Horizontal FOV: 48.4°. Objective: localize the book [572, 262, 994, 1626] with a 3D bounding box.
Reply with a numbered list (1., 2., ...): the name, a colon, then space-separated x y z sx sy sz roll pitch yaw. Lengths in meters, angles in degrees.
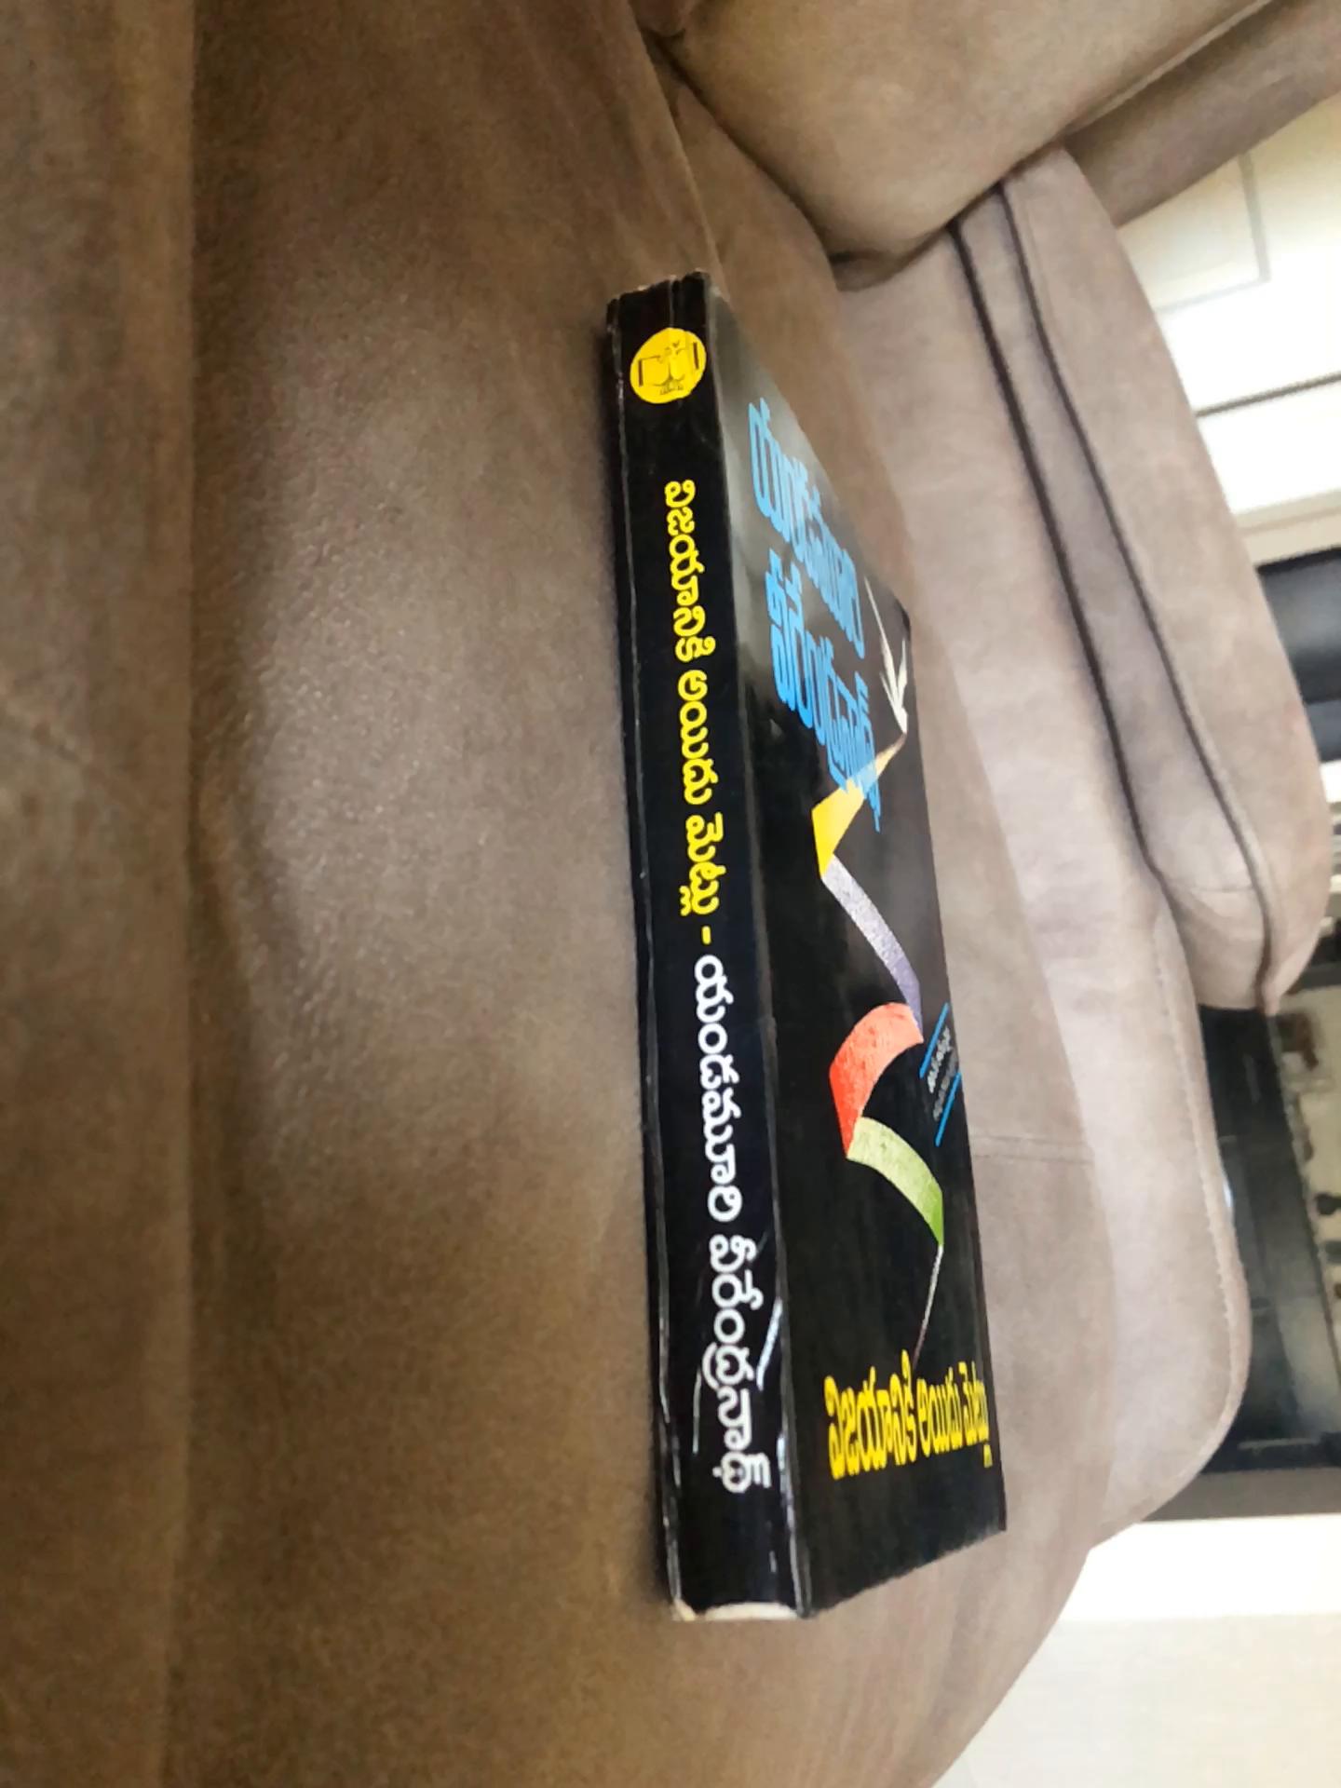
1. book: 0.025 0.014 0.289 0.144 0.026 0.212 37 48 -61
